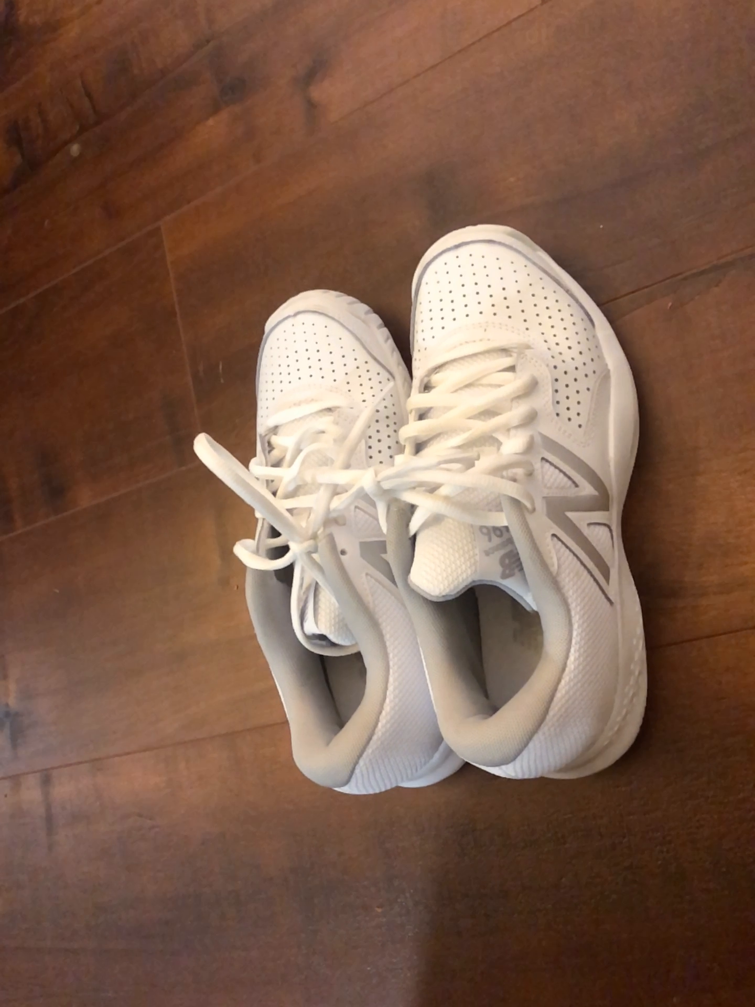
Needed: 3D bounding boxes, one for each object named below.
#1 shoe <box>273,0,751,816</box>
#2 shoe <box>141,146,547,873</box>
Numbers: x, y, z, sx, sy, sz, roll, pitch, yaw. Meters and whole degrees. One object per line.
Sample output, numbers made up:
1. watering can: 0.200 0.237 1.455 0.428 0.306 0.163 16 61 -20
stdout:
1. shoe: 0.070 -0.034 0.401 0.120 0.169 0.310 -14 80 30
2. shoe: -0.016 0.004 0.428 0.100 0.130 0.310 -17 79 26
